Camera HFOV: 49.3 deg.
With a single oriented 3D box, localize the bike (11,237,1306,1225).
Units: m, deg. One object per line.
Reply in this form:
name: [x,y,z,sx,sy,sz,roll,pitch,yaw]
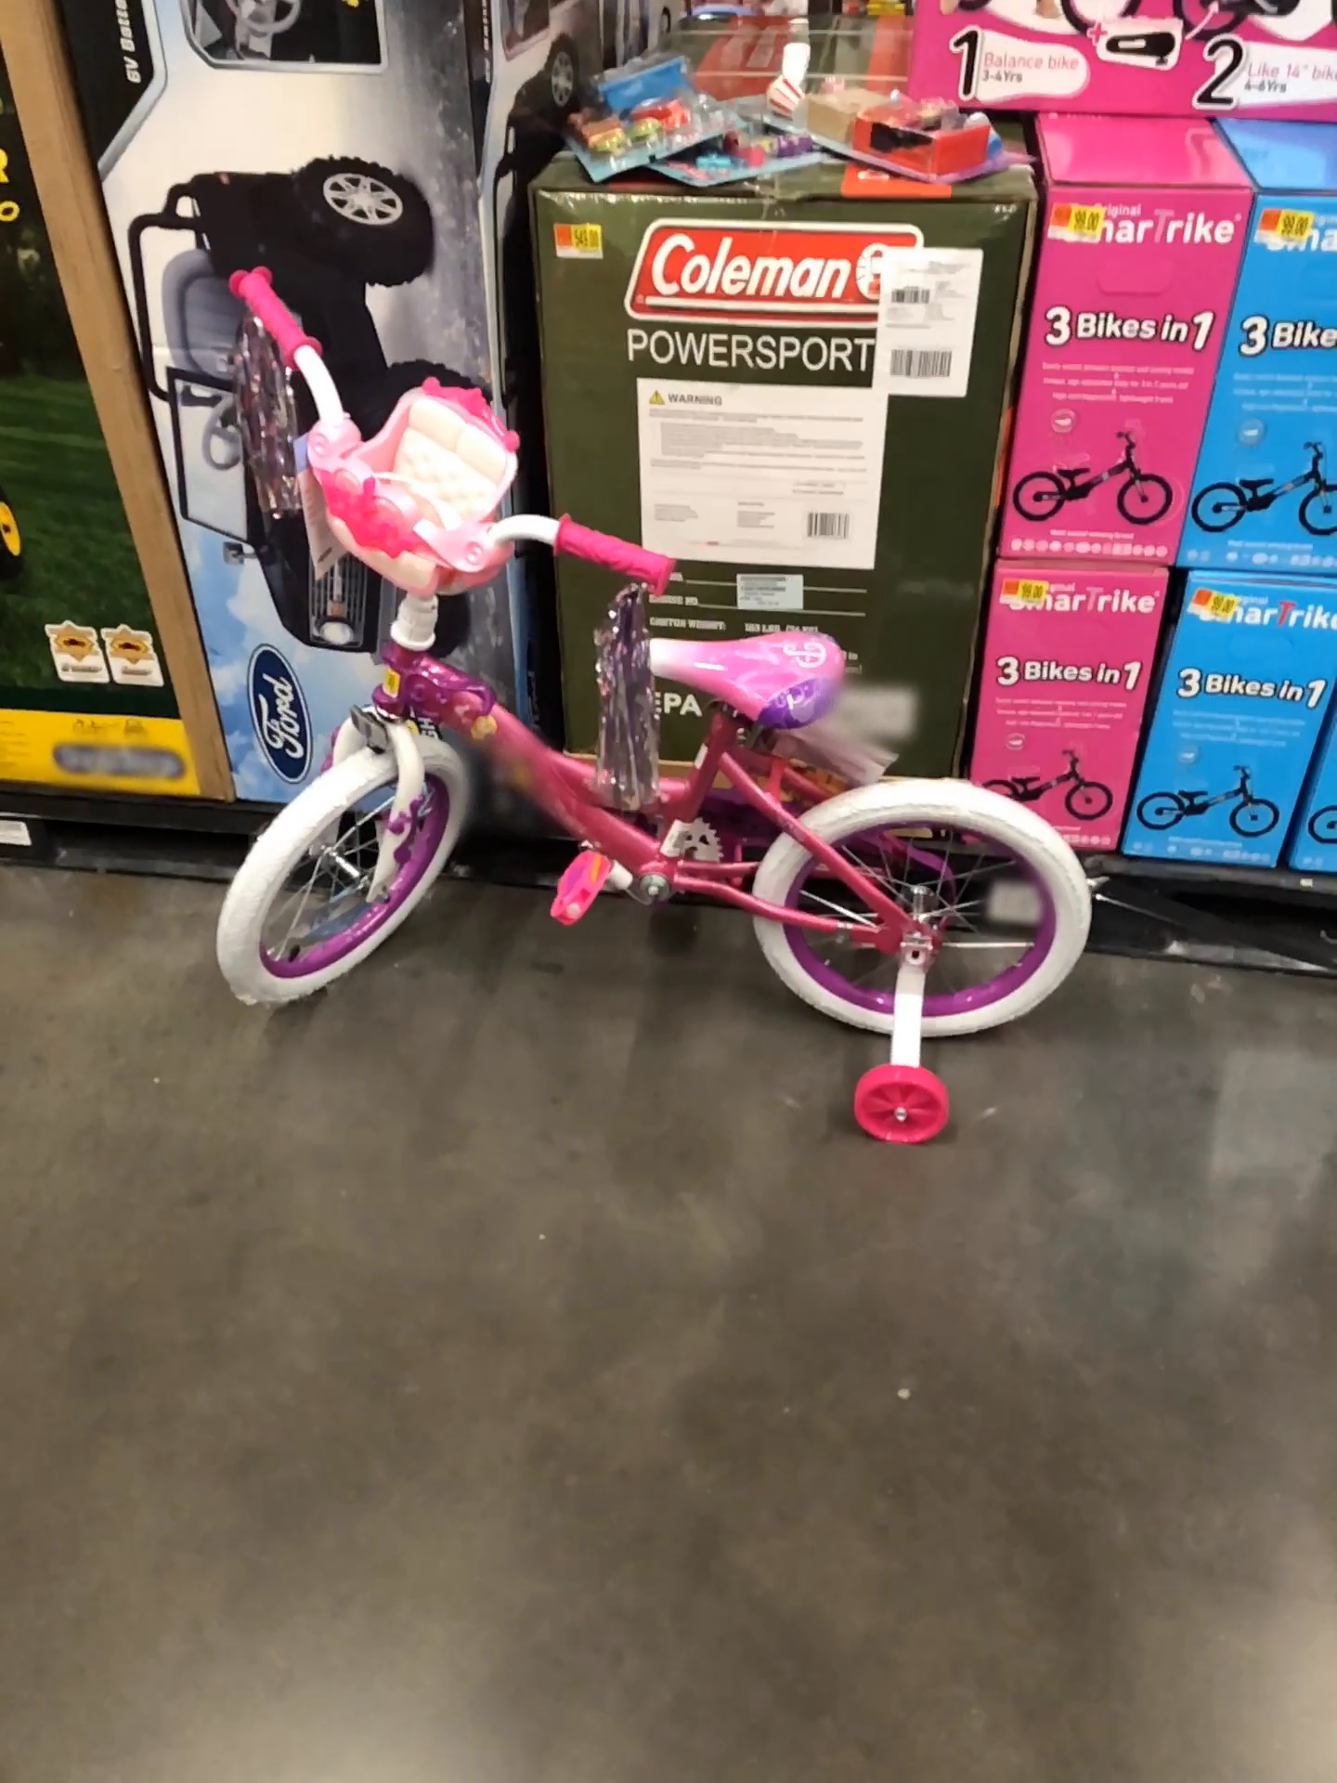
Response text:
bike: [-0.013,-0.144,1.514,0.948,0.854,0.480,-2,38,-1]
